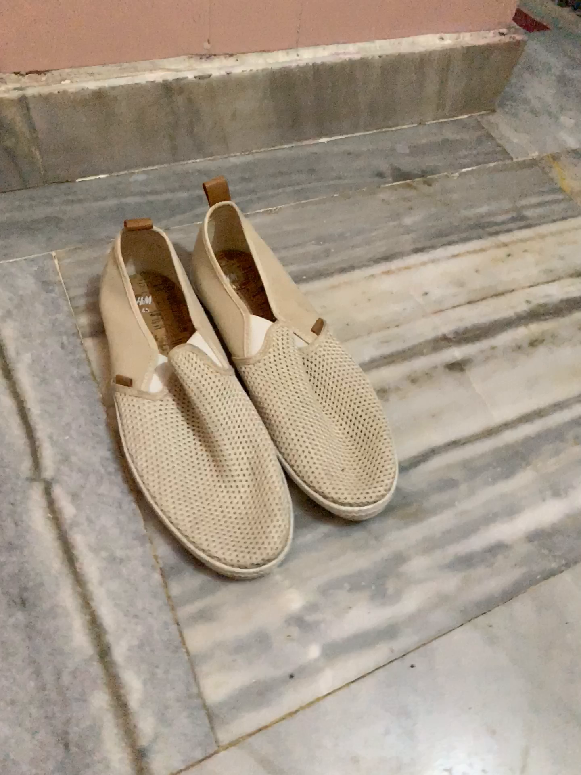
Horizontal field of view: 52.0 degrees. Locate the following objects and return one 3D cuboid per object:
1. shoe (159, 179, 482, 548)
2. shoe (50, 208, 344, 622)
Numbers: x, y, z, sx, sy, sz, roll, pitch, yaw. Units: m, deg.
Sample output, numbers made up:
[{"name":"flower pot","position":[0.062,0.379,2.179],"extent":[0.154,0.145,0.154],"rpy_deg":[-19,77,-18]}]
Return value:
[{"name":"shoe","position":[0.006,-0.039,0.505],"extent":[0.116,0.080,0.310],"rpy_deg":[-21,61,-22]},{"name":"shoe","position":[-0.087,0.000,0.465],"extent":[0.116,0.080,0.310],"rpy_deg":[-17,59,-19]}]
